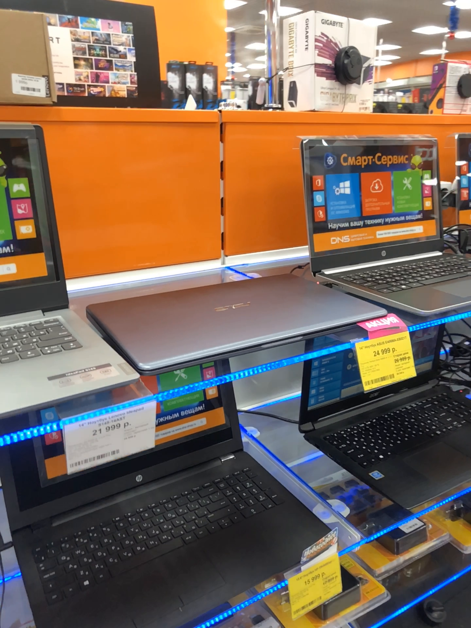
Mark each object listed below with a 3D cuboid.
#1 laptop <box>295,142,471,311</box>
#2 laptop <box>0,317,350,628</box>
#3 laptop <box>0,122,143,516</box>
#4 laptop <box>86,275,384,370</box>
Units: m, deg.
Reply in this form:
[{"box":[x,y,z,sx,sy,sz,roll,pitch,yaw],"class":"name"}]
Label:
[{"box":[0.318,-0.165,0.833,0.336,0.205,0.272,-11,22,-30],"class":"laptop"},{"box":[-0.099,0.190,0.709,0.377,0.227,0.313,-11,22,-28],"class":"laptop"},{"box":[-0.318,-0.055,0.478,0.353,0.225,0.289,-12,23,-30],"class":"laptop"},{"box":[-0.004,-0.004,0.668,0.324,0.001,0.214,-11,22,-28],"class":"laptop"}]
